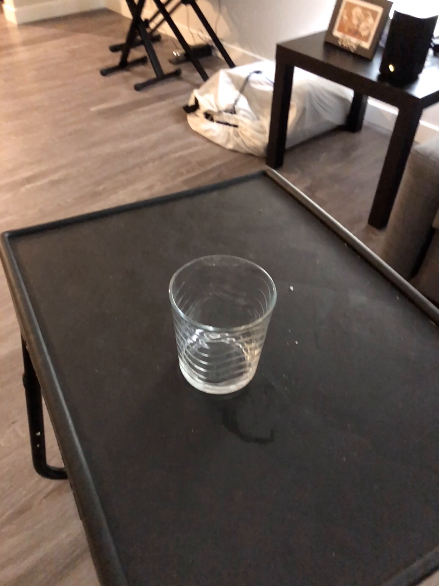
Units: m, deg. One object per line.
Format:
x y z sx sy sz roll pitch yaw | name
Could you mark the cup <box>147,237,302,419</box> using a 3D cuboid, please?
0.002 0.029 0.434 0.090 0.099 0.090 1 44 -1 | cup
